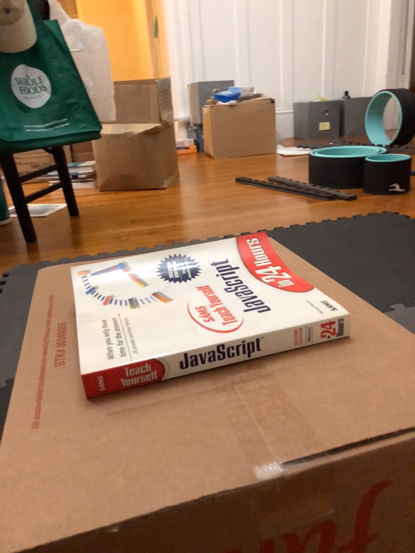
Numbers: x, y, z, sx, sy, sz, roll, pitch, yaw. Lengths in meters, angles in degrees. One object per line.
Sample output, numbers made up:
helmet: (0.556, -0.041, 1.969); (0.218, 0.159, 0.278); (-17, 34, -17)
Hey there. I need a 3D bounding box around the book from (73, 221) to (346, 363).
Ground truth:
book: (-0.015, -0.001, 0.486); (0.240, 0.030, 0.201); (-12, 23, -14)
